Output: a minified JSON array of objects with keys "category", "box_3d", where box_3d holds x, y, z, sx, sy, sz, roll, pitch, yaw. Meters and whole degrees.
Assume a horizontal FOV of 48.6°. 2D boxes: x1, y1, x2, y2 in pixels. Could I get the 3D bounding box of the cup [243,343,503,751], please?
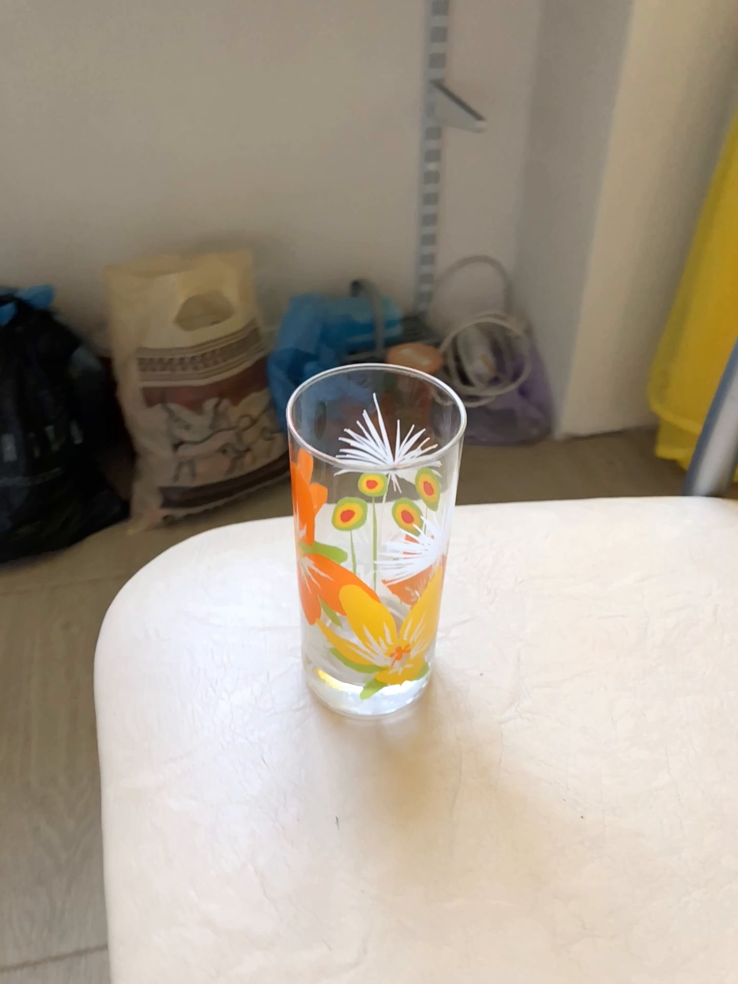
[{"category":"cup","box_3d":[0.000,0.023,0.316,0.063,0.133,0.061,0,39,0]}]
